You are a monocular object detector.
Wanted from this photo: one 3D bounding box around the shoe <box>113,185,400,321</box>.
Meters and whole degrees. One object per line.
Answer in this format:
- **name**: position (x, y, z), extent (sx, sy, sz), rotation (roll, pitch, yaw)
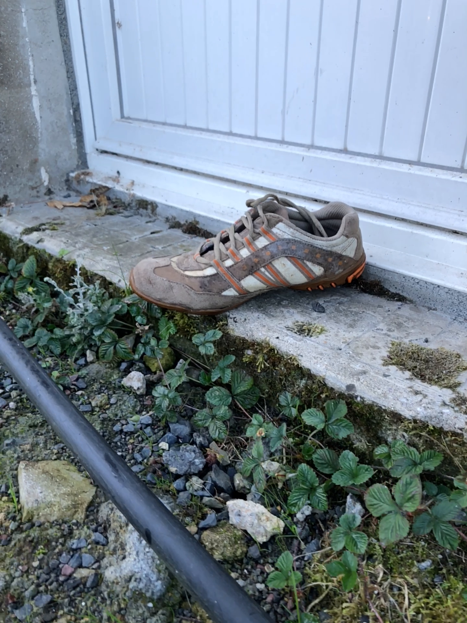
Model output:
- **shoe**: position (0.019, -0.068, 0.551), extent (0.270, 0.099, 0.111), rotation (-3, 28, -6)
